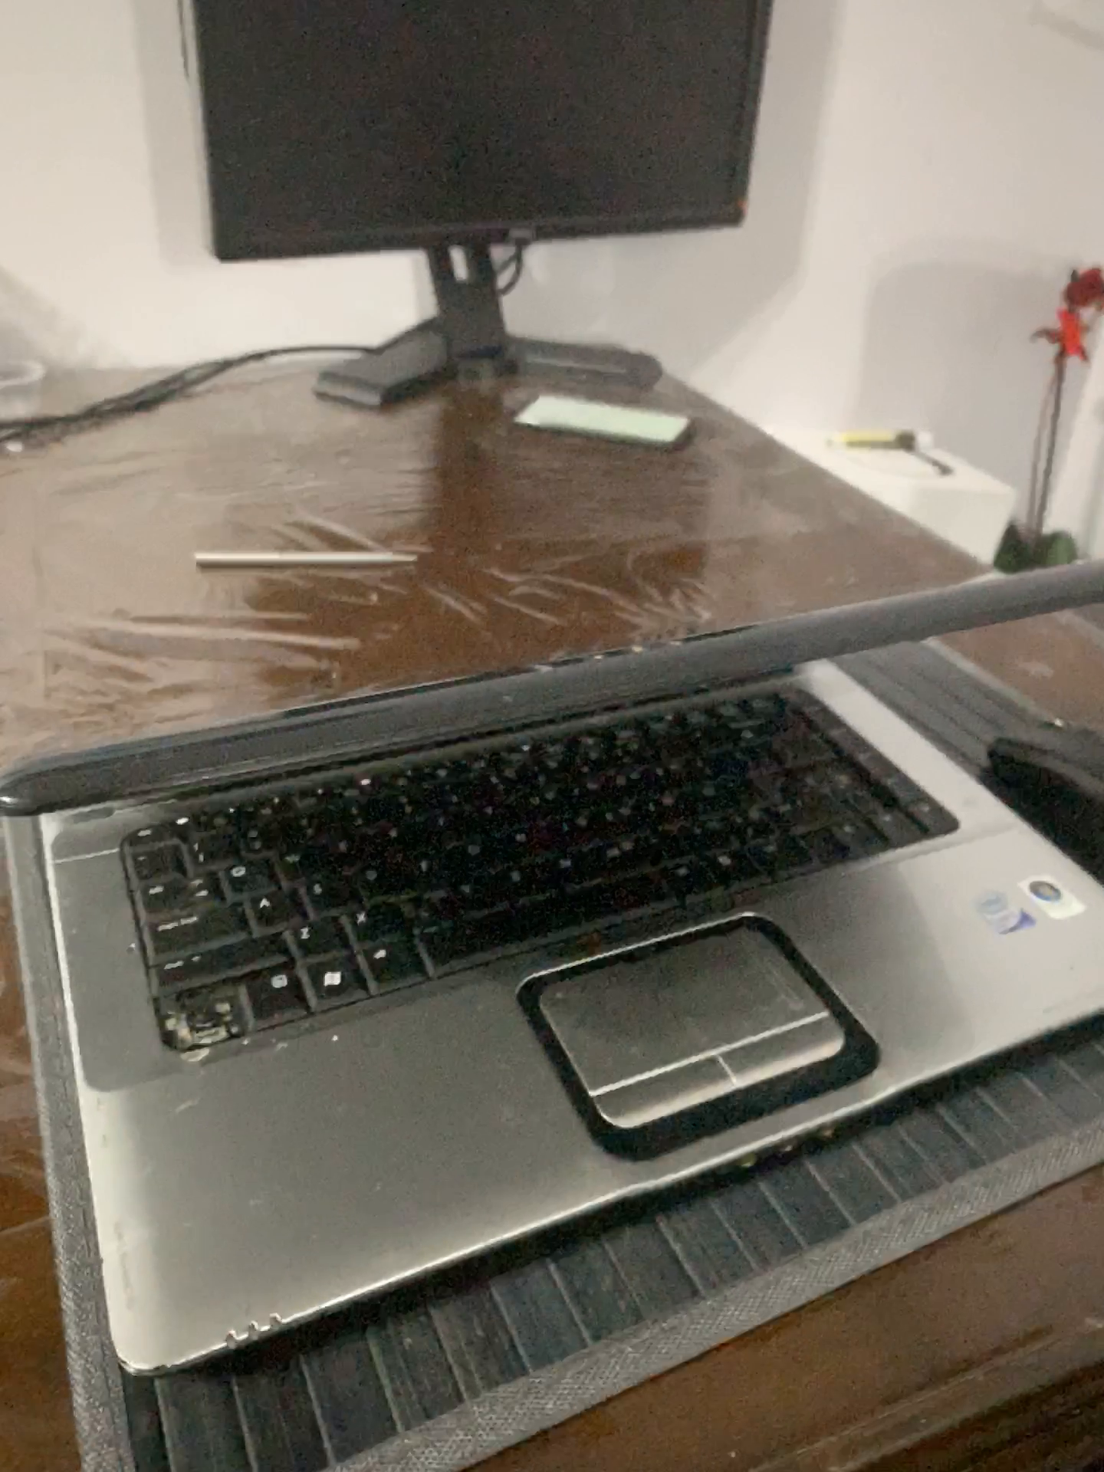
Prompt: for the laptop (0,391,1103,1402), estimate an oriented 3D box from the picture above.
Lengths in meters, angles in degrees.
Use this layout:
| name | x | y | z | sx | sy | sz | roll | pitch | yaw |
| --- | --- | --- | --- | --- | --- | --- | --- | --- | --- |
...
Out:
| name | x | y | z | sx | sy | sz | roll | pitch | yaw |
| --- | --- | --- | --- | --- | --- | --- | --- | --- | --- |
| laptop | 0.010 | -0.006 | 0.374 | 0.343 | 0.109 | 0.244 | -12 | 38 | -25 |
